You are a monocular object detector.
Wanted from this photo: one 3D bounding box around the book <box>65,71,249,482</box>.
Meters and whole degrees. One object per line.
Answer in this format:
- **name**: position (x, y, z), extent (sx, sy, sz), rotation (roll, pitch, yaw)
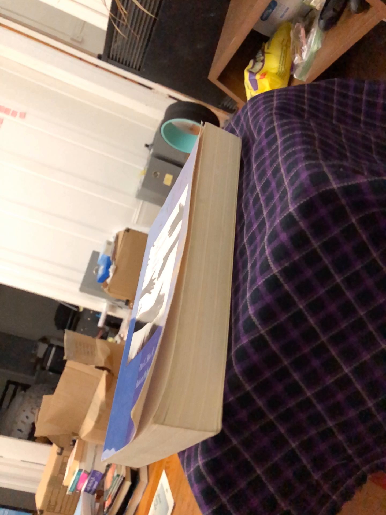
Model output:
- **book**: position (-0.028, 0.020, 0.334), extent (0.200, 0.040, 0.260), rotation (128, 156, -52)
